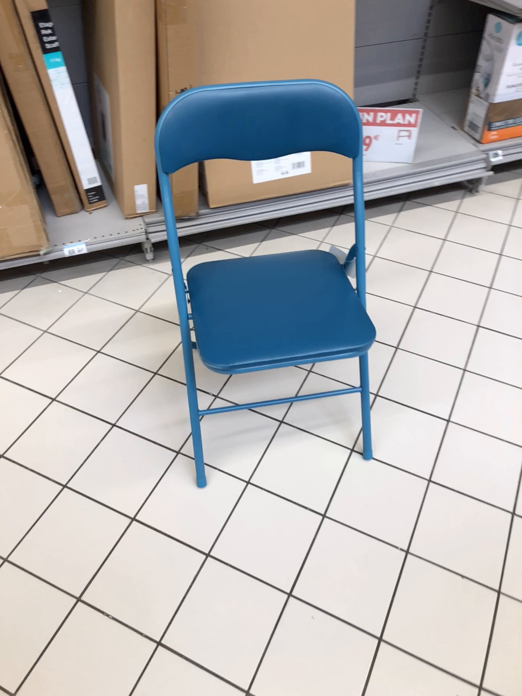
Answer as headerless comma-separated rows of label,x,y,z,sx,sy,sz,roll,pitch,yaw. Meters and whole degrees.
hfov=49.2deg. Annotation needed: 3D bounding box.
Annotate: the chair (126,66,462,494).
chair,0.017,-0.124,1.281,0.500,0.766,0.503,-6,46,-6
